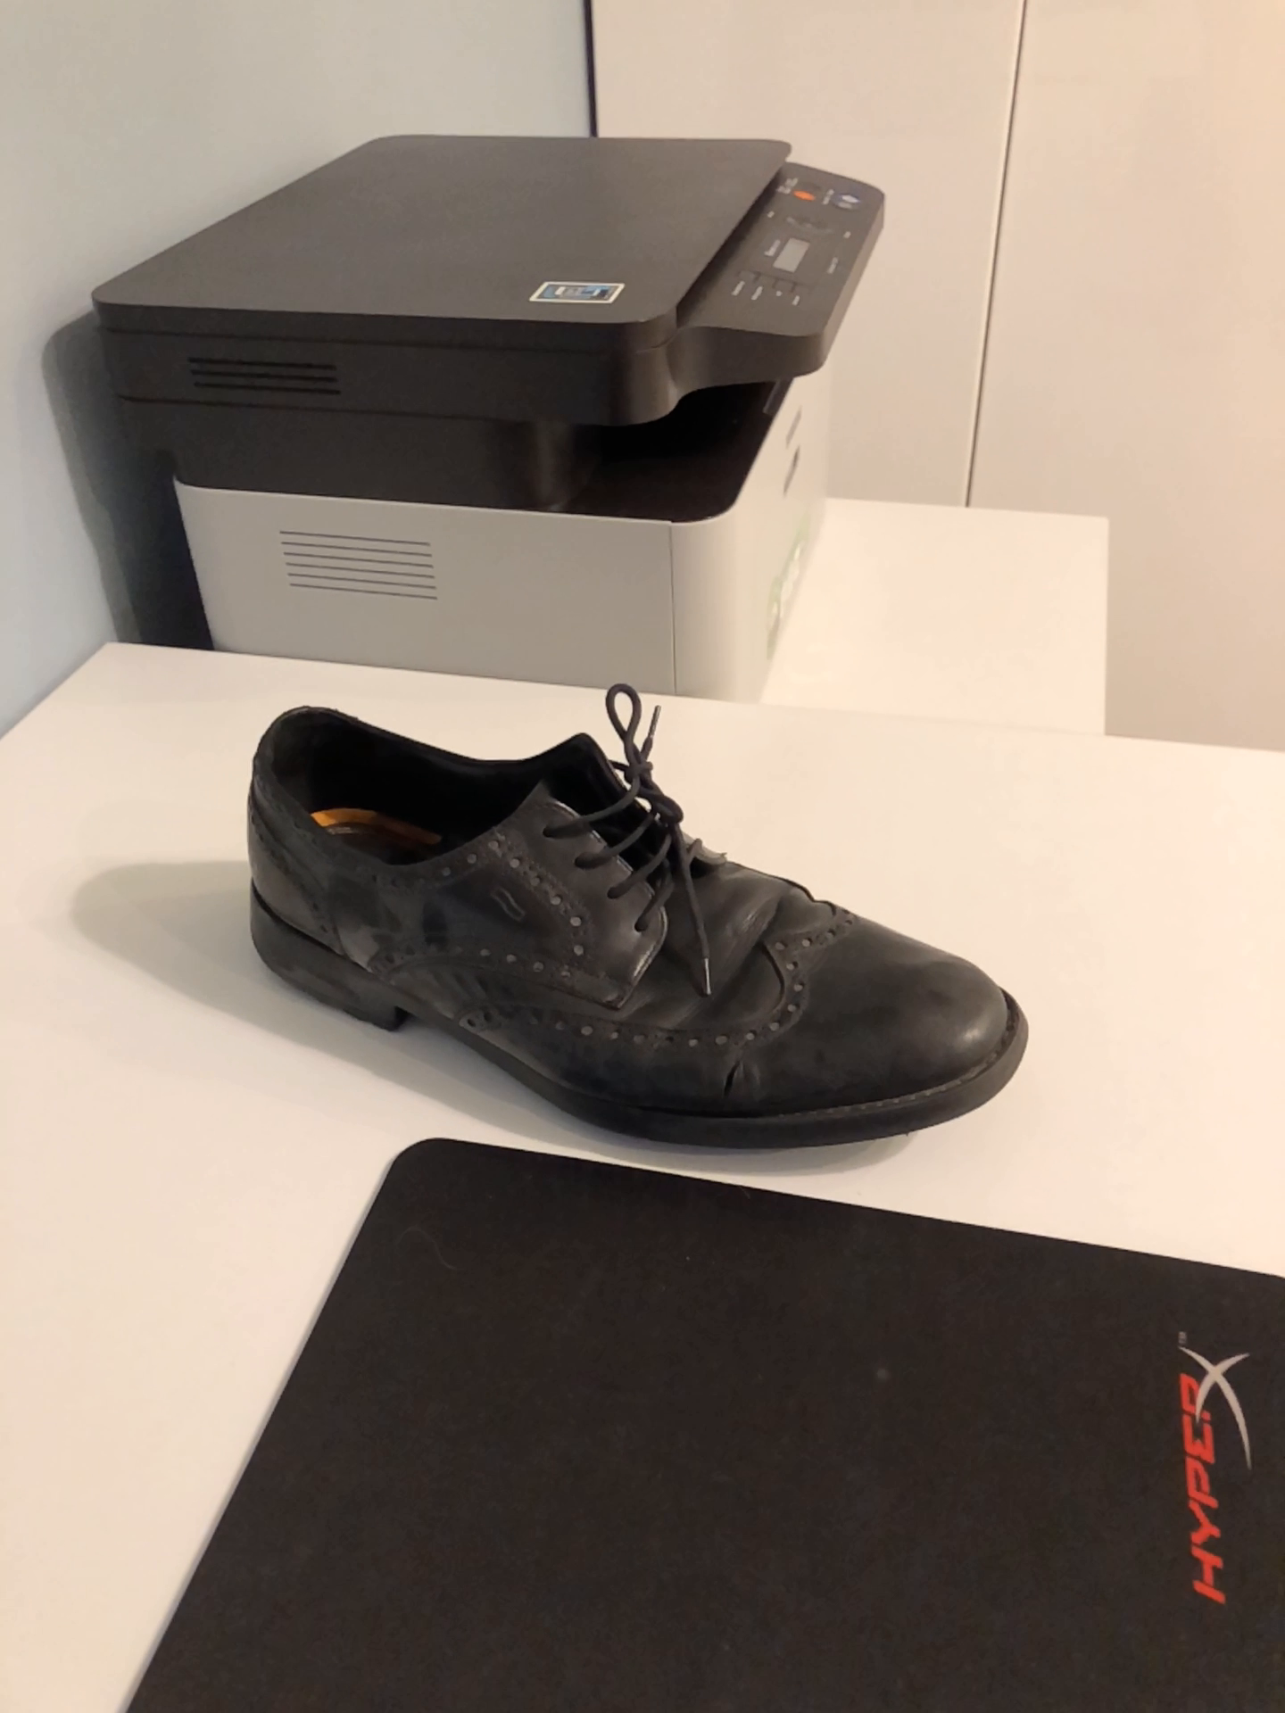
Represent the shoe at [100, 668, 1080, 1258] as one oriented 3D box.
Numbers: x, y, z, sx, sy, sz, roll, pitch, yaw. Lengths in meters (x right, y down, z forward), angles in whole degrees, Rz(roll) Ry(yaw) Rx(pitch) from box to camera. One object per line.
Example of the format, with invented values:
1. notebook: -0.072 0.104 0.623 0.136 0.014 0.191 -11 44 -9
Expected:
1. shoe: -0.020 0.023 0.504 0.313 0.079 0.120 13 39 19
